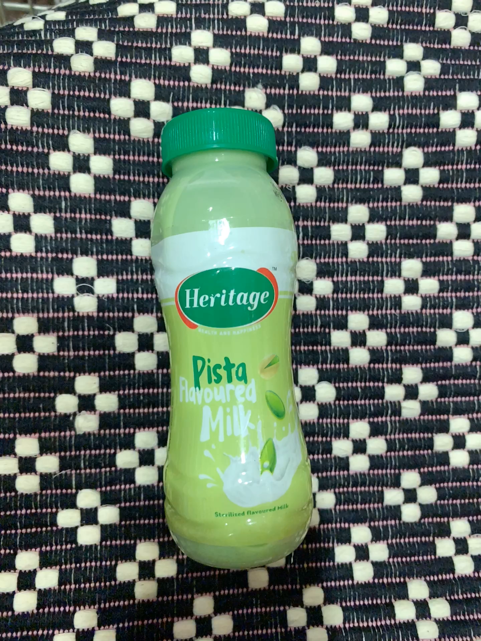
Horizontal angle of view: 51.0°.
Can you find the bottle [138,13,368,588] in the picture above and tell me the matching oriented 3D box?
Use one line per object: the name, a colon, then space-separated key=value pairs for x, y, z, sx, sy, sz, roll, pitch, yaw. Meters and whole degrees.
bottle: x=0.000 y=-0.007 z=0.159 sx=0.050 sy=0.050 sz=0.150 roll=-4 pitch=87 yaw=-9
